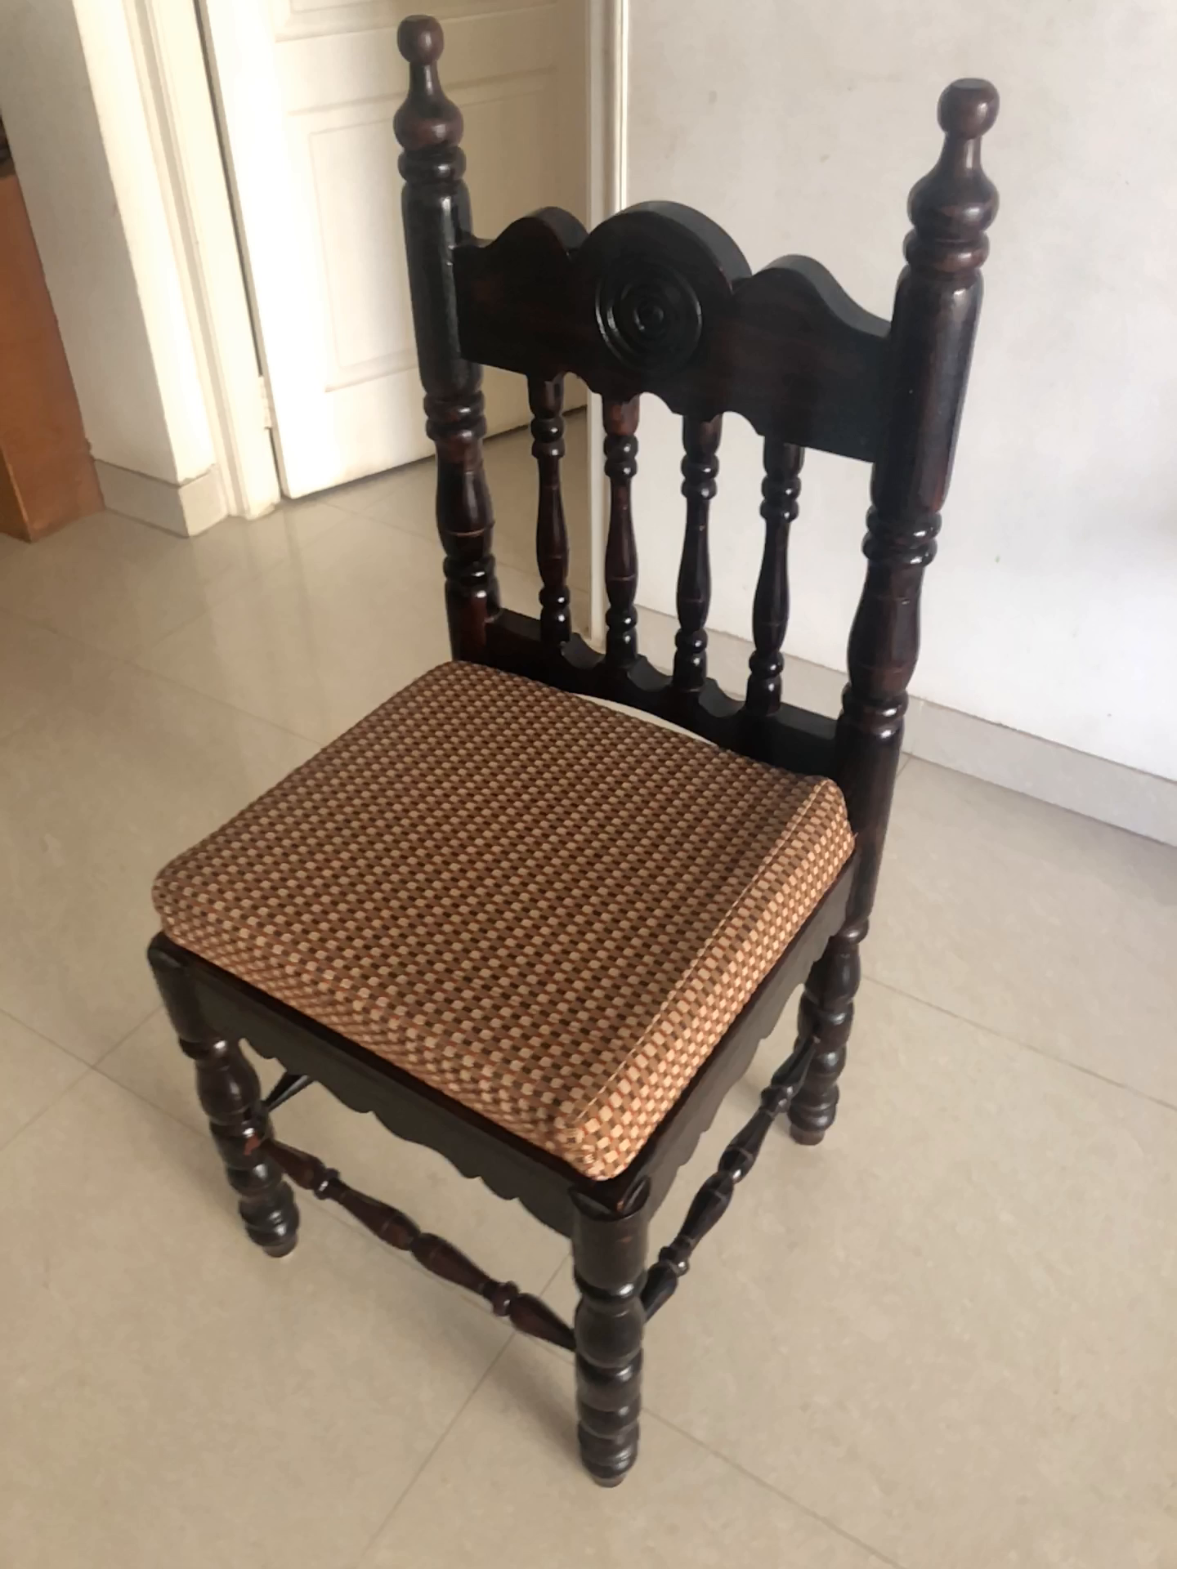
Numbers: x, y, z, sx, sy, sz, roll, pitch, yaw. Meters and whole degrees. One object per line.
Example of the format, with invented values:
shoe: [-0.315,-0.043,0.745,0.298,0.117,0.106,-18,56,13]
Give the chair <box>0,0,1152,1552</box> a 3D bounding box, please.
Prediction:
chair: [-0.012,0.010,1.048,0.501,1.022,0.563,22,45,25]
